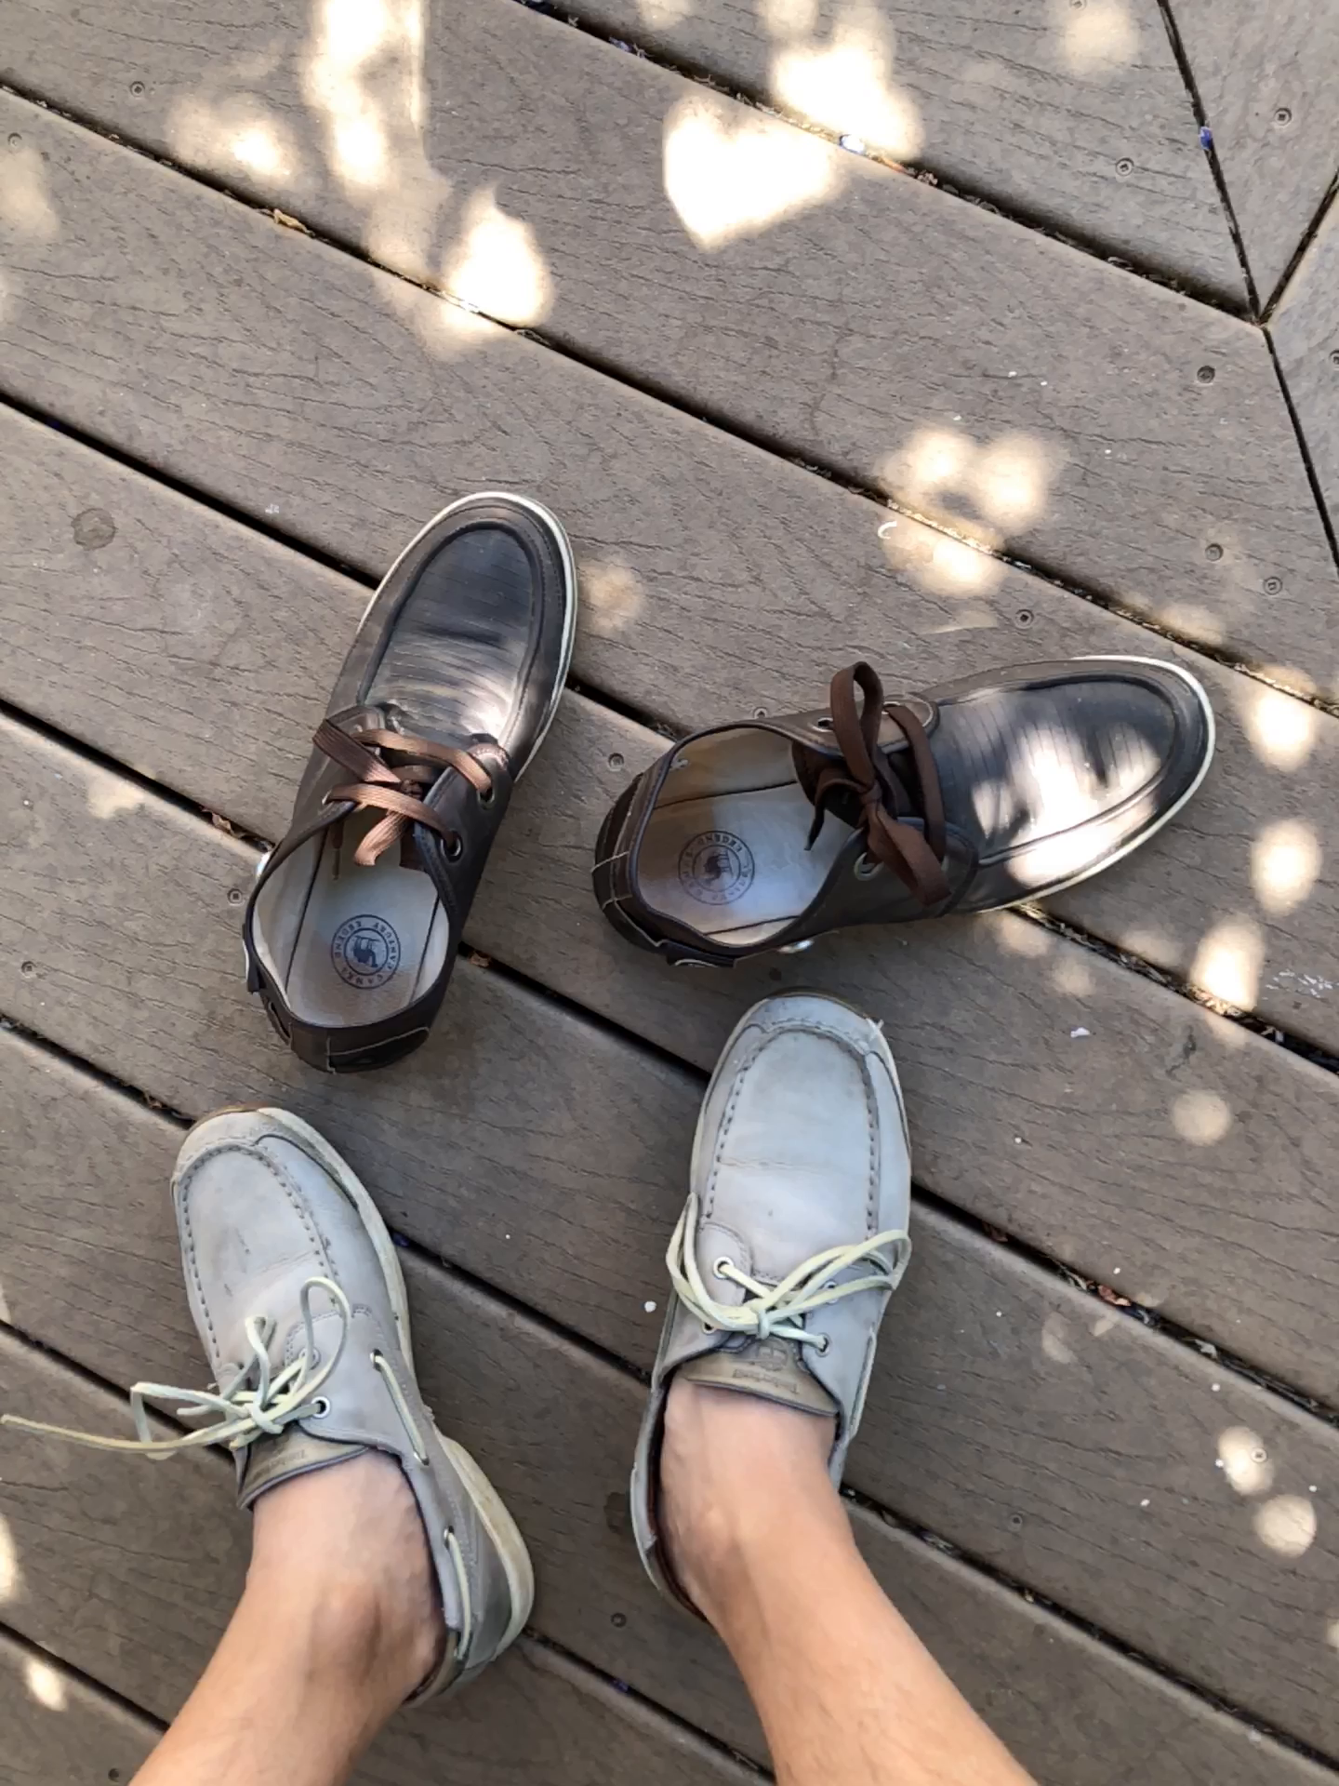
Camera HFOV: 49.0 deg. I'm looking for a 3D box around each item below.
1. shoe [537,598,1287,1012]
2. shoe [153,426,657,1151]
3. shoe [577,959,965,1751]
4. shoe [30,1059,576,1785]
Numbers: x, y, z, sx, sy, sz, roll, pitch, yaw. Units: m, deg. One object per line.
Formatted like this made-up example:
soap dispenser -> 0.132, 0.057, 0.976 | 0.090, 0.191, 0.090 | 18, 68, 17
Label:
shoe -> 0.096, -0.033, 0.619 | 0.277, 0.080, 0.109 | -11, 90, 8
shoe -> -0.113, -0.043, 0.641 | 0.109, 0.069, 0.278 | 23, 97, 6
shoe -> 0.044, 0.185, 0.630 | 0.109, 0.101, 0.293 | 9, 93, 7
shoe -> -0.157, 0.236, 0.654 | 0.109, 0.086, 0.292 | -24, 89, 7
